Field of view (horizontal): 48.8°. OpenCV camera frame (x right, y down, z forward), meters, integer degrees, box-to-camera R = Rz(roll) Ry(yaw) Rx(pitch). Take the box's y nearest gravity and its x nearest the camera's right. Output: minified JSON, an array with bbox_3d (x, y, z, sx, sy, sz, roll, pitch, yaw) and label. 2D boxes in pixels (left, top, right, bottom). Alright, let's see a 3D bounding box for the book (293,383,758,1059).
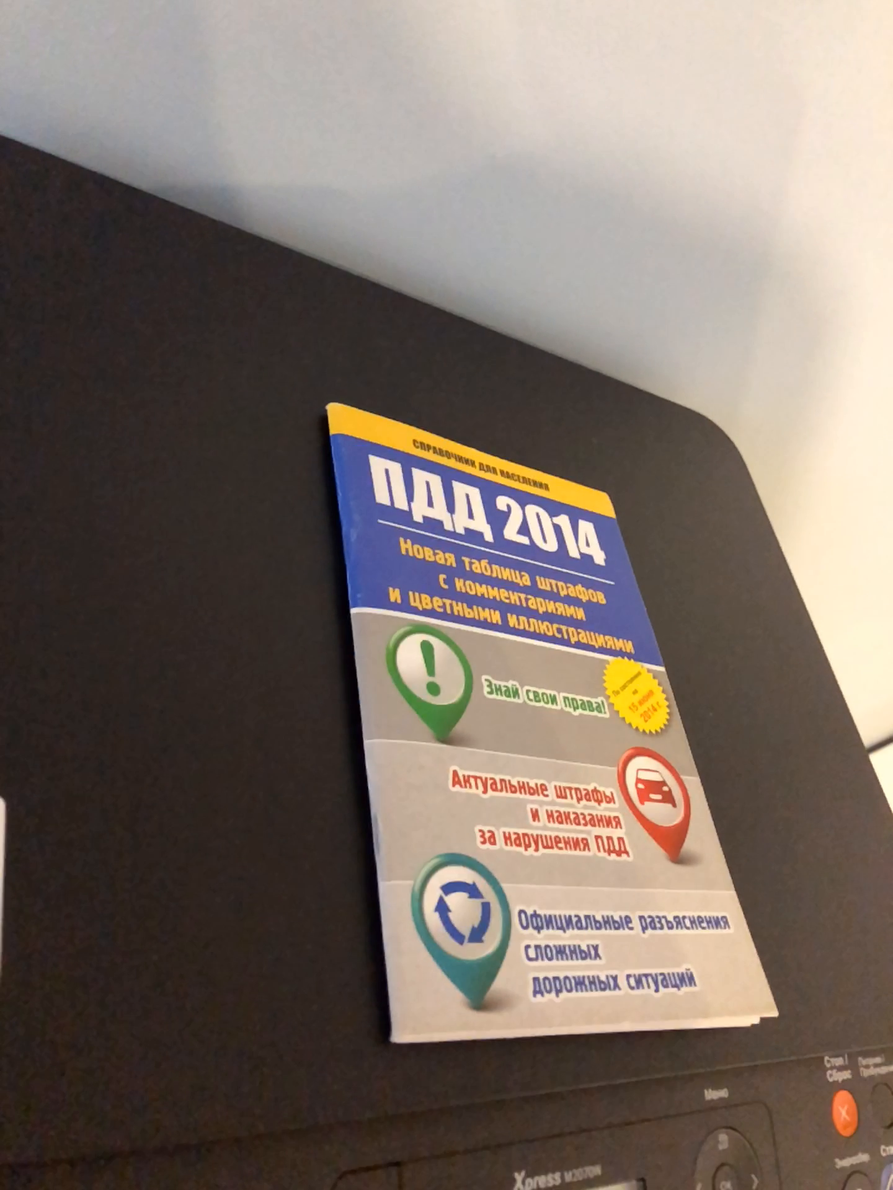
[{"bbox_3d":[0.020,0.030,0.306,0.130,0.010,0.201,13,52,-32],"label":"book"}]
